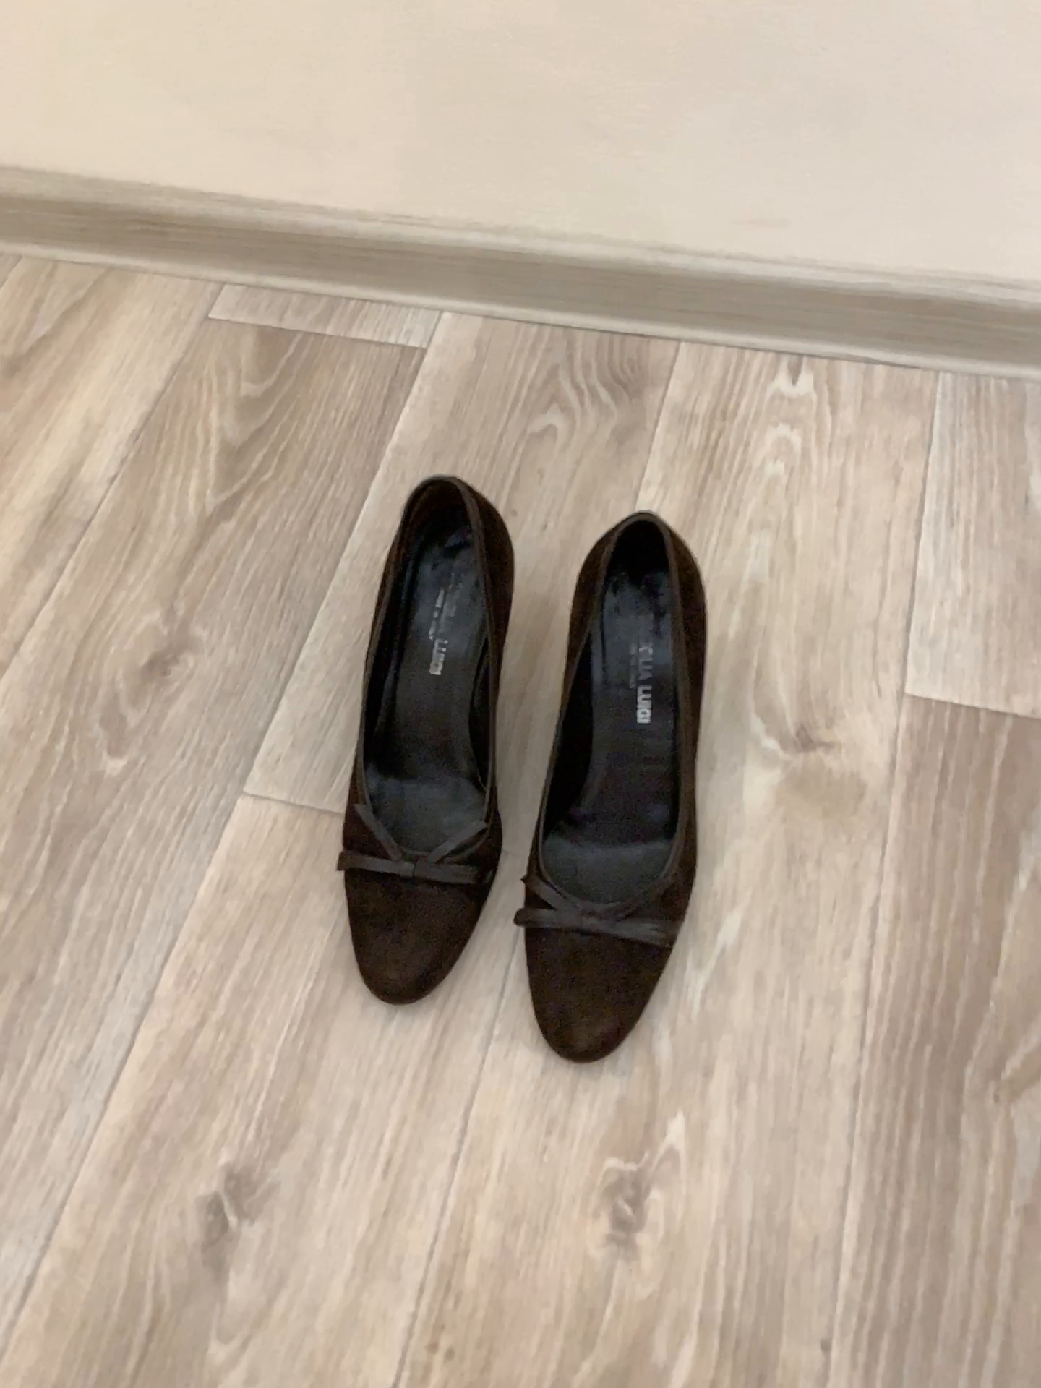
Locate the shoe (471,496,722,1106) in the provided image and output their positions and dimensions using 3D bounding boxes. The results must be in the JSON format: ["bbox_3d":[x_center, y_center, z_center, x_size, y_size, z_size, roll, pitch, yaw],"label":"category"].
[{"bbox_3d":[0.043,0.046,0.503,0.080,0.110,0.261,5,62,8],"label":"shoe"}]

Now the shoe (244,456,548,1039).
[{"bbox_3d":[-0.047,0.021,0.524,0.080,0.110,0.261,6,62,8],"label":"shoe"}]
